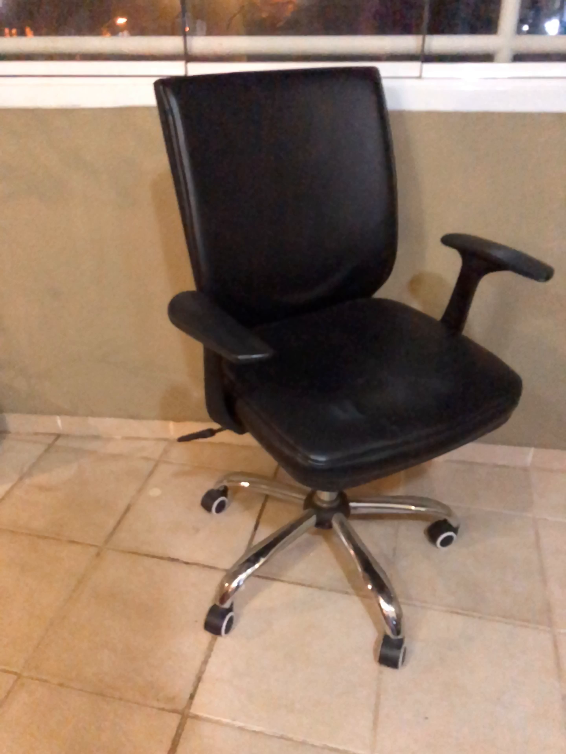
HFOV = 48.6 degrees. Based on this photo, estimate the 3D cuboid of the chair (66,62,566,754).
[{"bbox_3d":[0.091,-0.029,1.161,0.661,0.933,0.664,-16,33,-24],"label":"chair"}]
